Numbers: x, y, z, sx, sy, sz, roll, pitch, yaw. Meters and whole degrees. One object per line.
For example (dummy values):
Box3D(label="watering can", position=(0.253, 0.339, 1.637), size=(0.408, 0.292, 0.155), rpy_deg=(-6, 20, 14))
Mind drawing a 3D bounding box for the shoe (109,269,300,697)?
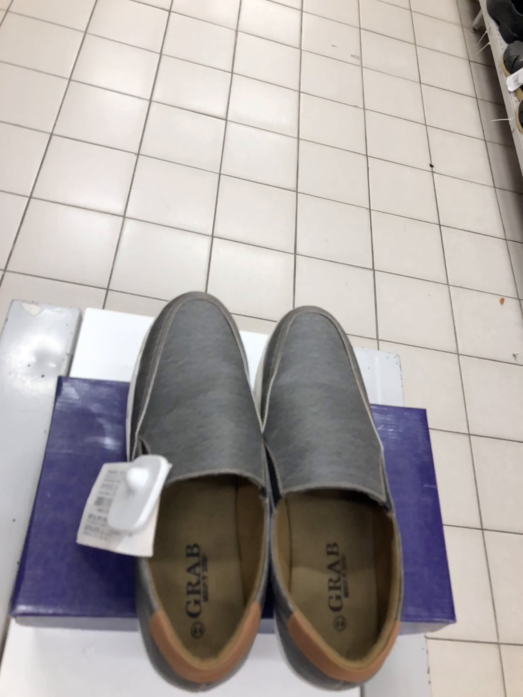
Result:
Box3D(label="shoe", position=(-0.046, 0.088, 0.404), size=(0.100, 0.099, 0.271), rpy_deg=(4, 60, -13))

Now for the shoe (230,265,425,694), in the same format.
Box3D(label="shoe", position=(0.043, 0.099, 0.470), size=(0.100, 0.119, 0.311), rpy_deg=(8, 60, -11))
